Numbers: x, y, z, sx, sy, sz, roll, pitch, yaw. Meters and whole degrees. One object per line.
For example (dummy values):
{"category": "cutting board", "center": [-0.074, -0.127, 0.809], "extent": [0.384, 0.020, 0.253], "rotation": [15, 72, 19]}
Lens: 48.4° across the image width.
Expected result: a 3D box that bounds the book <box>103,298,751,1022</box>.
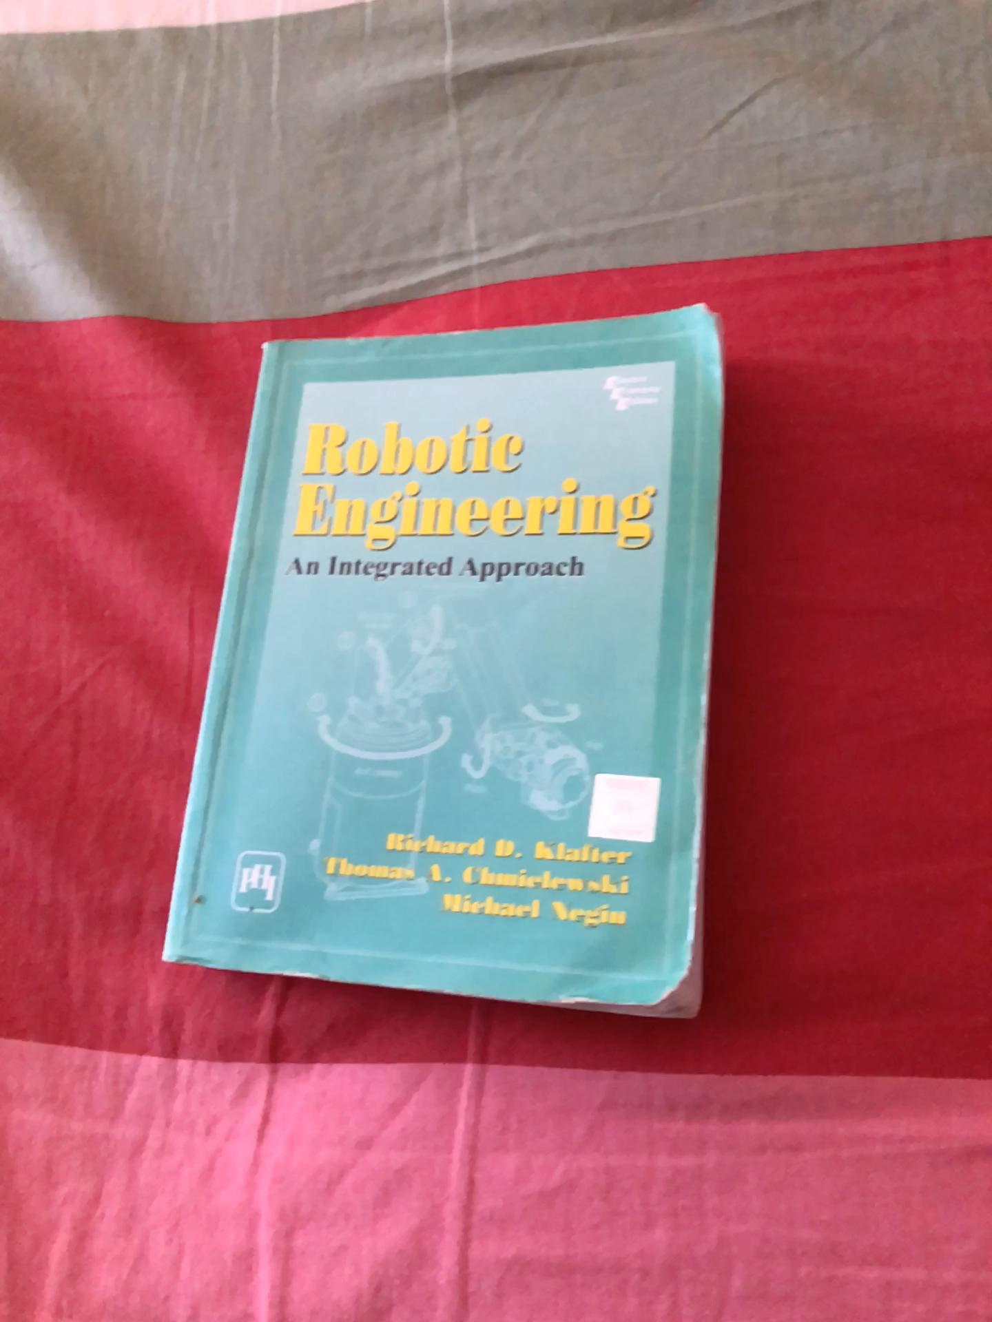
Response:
{"category": "book", "center": [-0.013, -0.005, 0.338], "extent": [0.171, 0.043, 0.205], "rotation": [1, 72, 14]}
